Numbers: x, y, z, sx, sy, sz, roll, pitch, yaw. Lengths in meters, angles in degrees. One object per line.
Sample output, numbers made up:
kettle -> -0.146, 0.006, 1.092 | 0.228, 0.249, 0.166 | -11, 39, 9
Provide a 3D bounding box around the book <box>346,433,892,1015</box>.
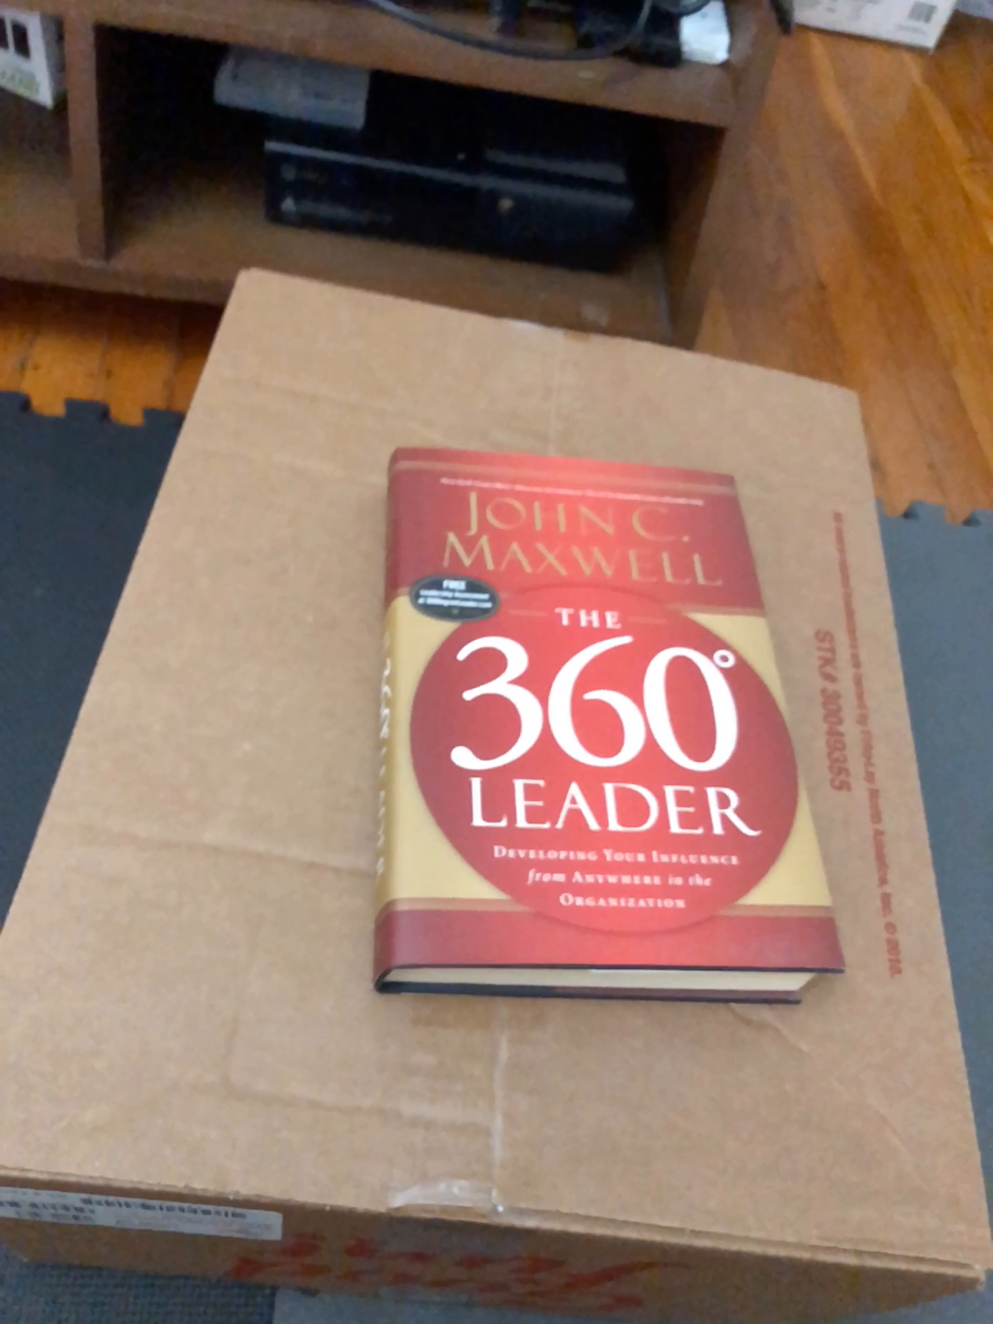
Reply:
book -> 0.038, 0.013, 0.438 | 0.180, 0.030, 0.241 | 4, 54, -8
